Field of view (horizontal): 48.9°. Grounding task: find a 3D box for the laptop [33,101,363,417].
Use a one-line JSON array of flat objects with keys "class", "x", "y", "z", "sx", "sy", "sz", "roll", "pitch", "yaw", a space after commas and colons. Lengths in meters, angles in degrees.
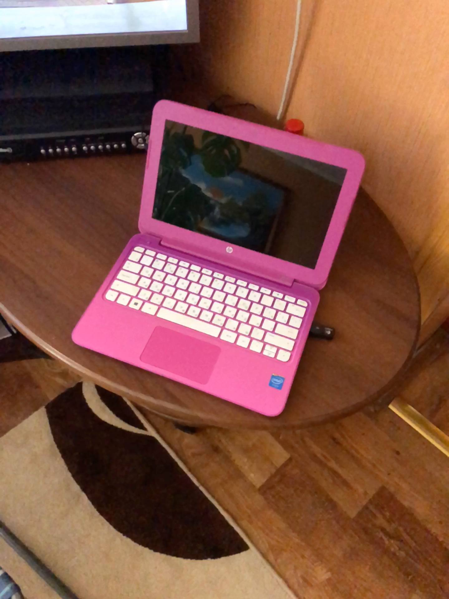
[{"class": "laptop", "x": -0.014, "y": -0.062, "z": 0.616, "sx": 0.279, "sy": 0.150, "sz": 0.296, "roll": 18, "pitch": 59, "yaw": 10}]
